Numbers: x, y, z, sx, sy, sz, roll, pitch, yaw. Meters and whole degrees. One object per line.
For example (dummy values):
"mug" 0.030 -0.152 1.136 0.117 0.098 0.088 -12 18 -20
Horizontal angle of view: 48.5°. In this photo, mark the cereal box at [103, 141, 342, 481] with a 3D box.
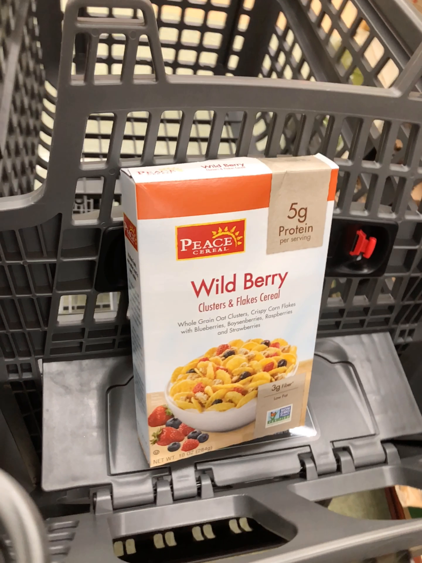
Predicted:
"cereal box" 0.009 0.026 0.390 0.160 0.260 0.060 -9 26 -18
